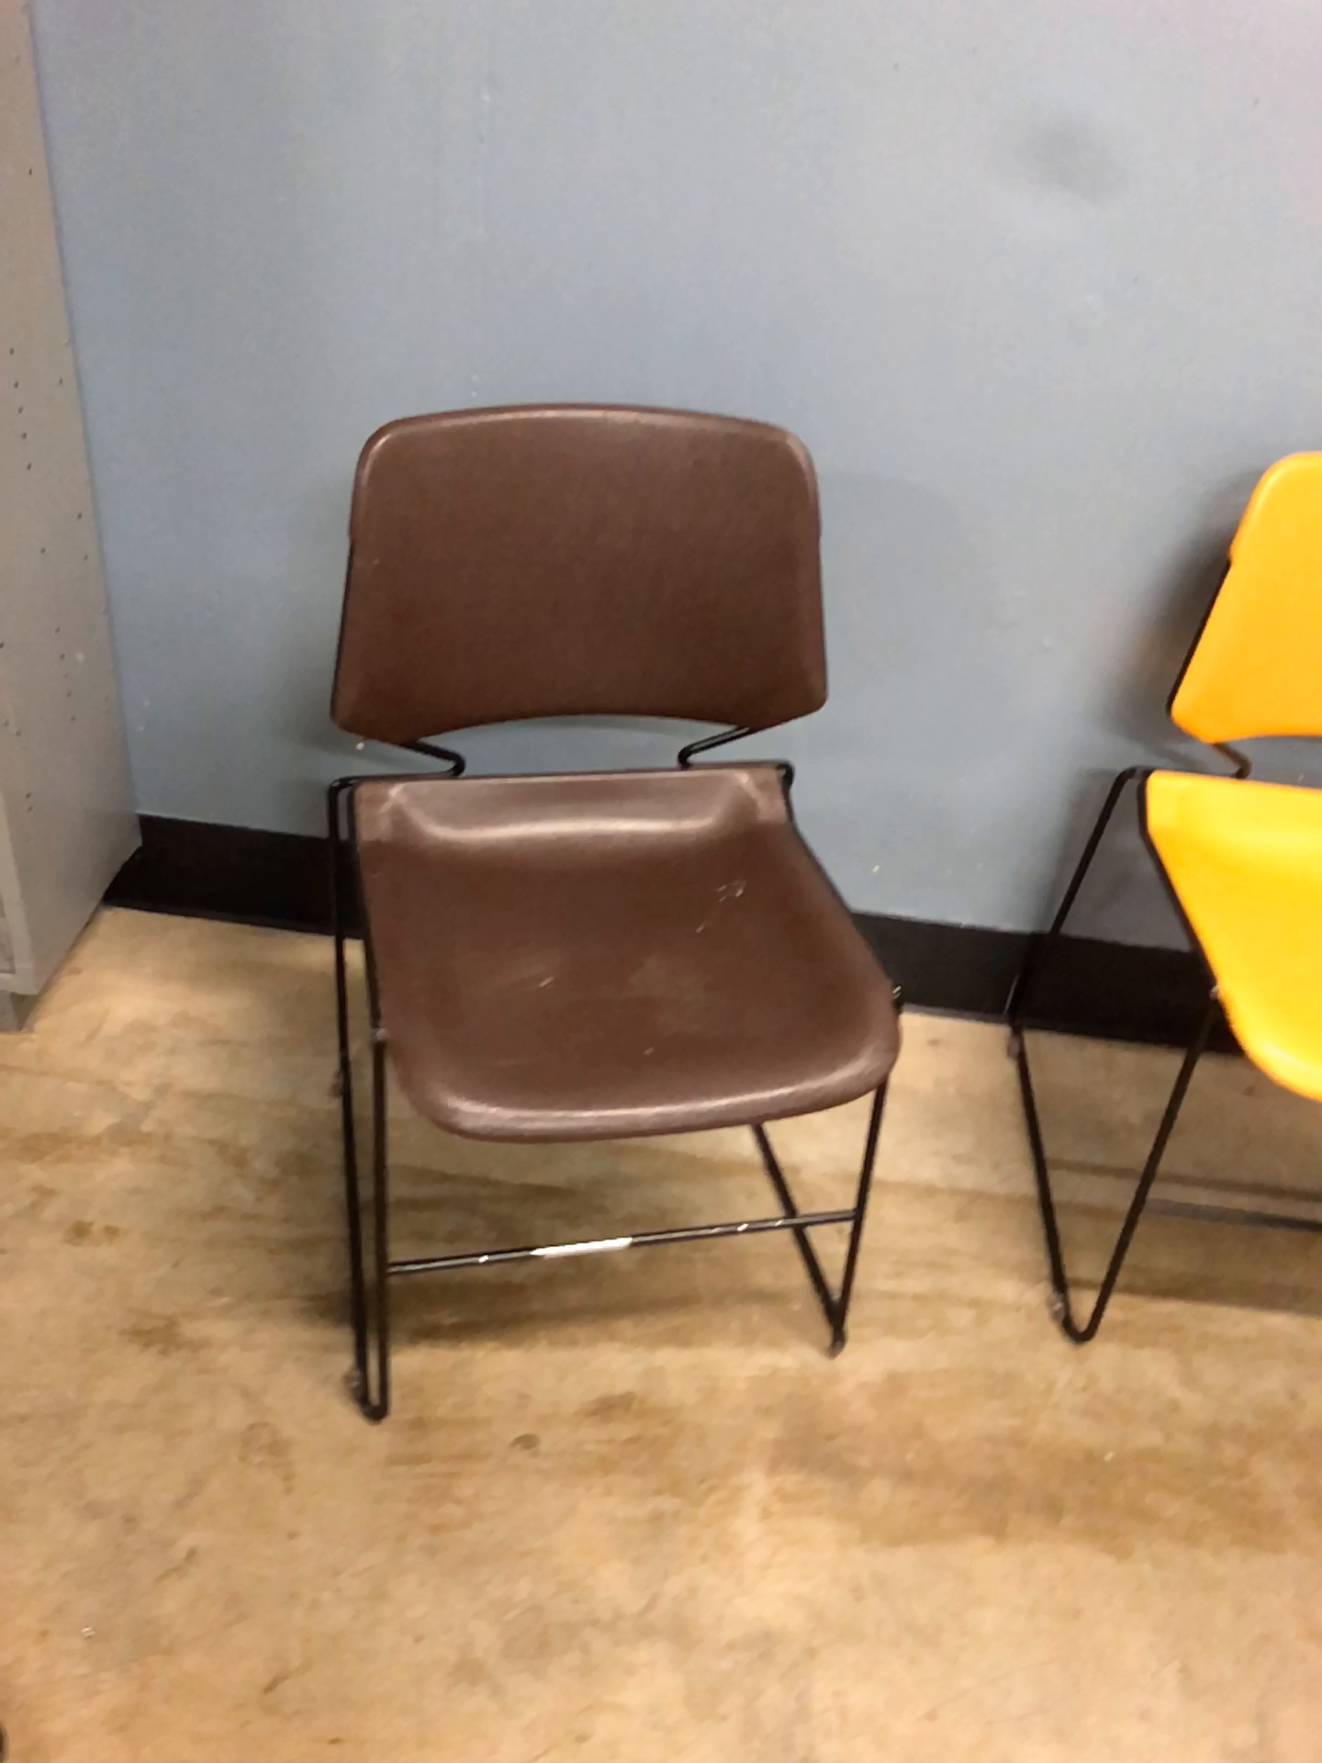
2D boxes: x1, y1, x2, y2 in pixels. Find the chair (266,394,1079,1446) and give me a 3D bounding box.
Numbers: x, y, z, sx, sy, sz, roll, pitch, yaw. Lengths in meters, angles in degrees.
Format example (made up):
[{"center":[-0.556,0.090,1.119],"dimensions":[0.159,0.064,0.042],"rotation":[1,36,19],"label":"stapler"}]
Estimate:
[{"center":[-0.069,0.019,1.345],"dimensions":[0.516,0.751,0.548],"rotation":[-4,37,-15],"label":"chair"}]
